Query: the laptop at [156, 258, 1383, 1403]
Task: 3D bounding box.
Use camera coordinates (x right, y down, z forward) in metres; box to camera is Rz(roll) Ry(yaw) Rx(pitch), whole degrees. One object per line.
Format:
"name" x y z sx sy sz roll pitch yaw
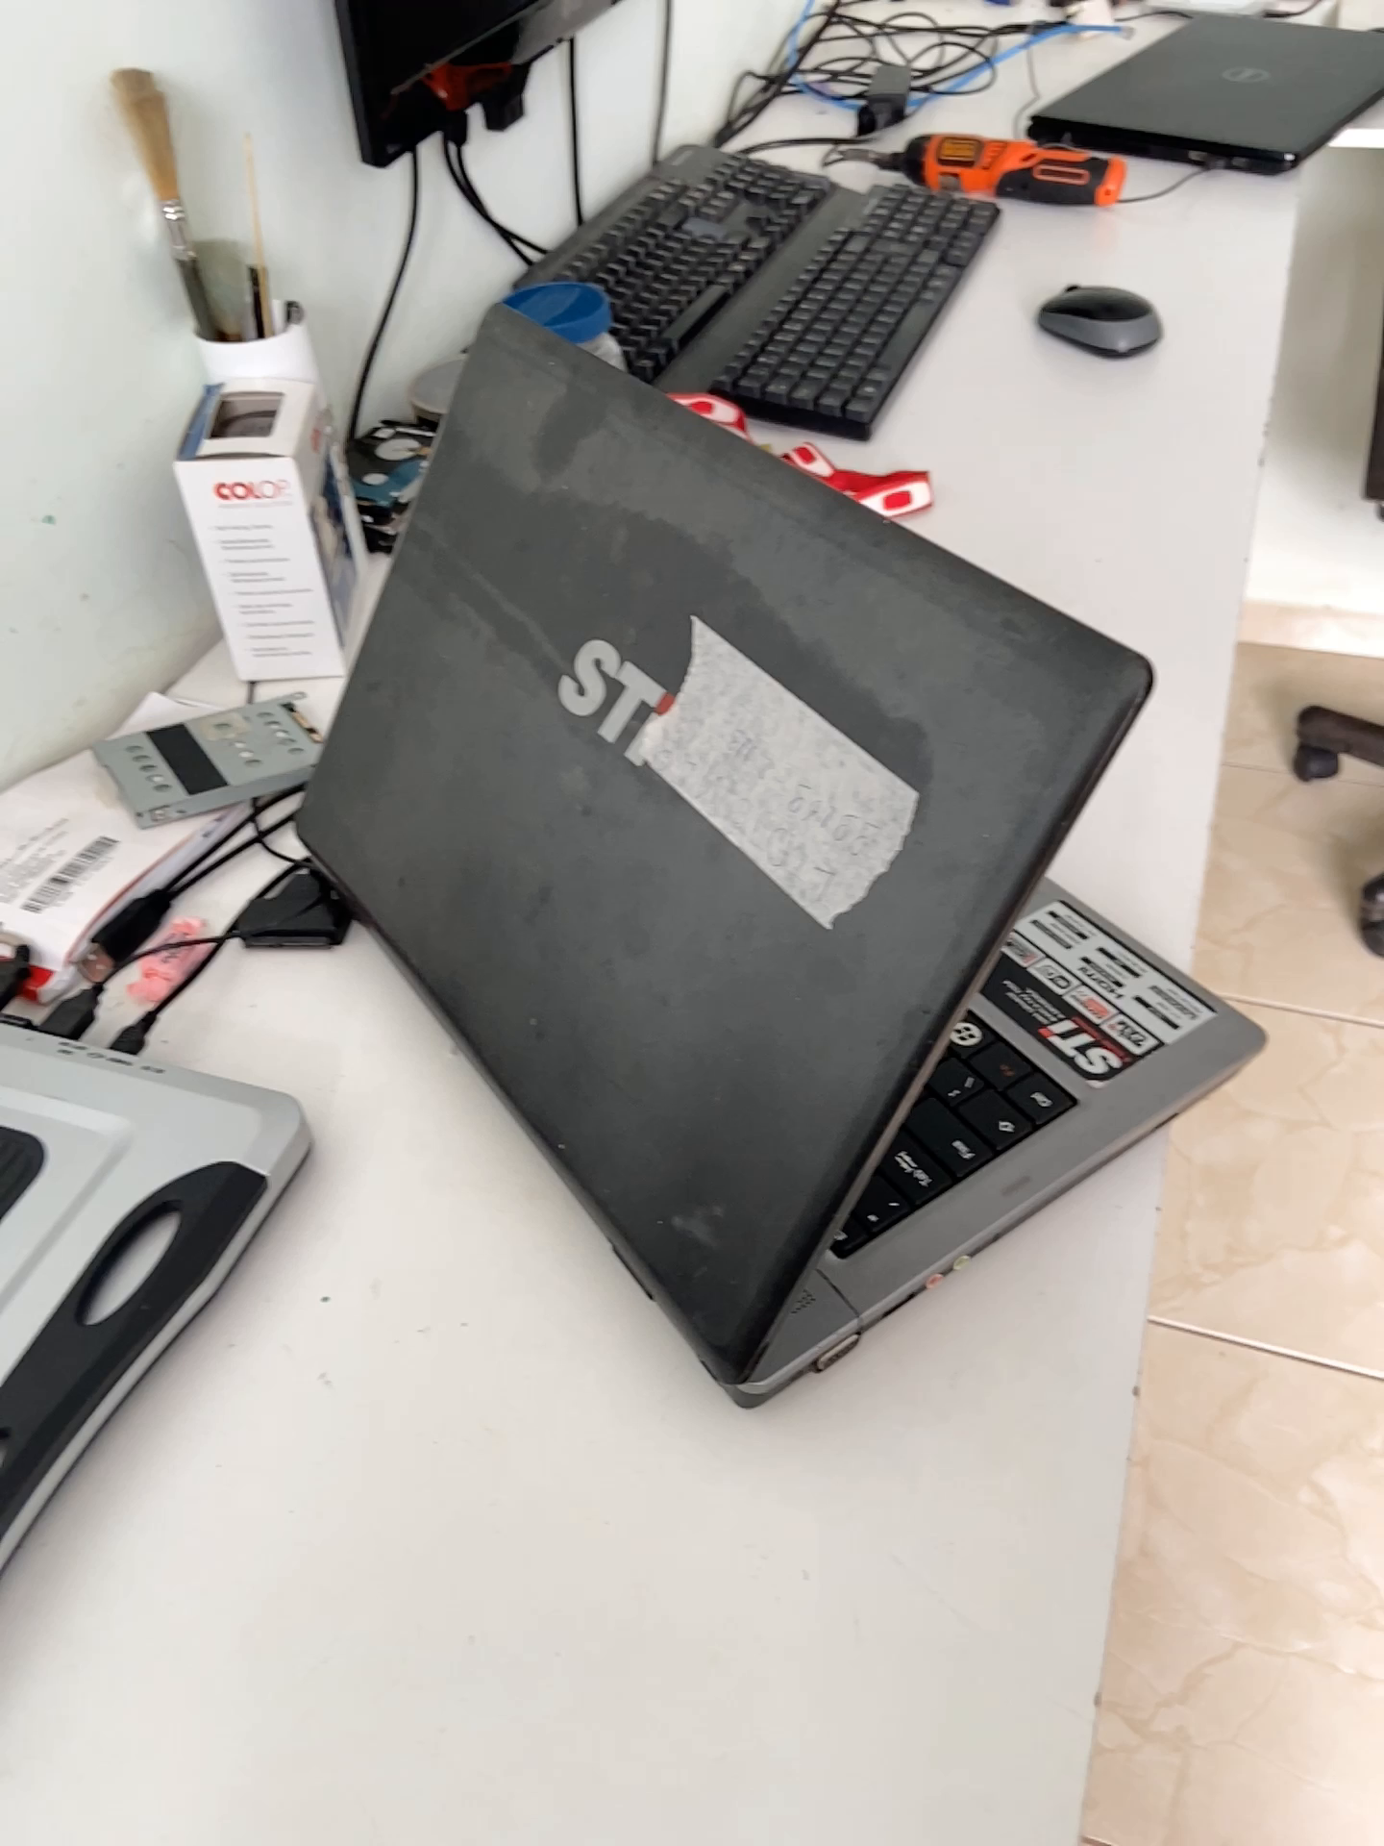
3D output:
"laptop" 0.012 -0.069 0.516 0.242 0.200 0.343 -27 47 -22
